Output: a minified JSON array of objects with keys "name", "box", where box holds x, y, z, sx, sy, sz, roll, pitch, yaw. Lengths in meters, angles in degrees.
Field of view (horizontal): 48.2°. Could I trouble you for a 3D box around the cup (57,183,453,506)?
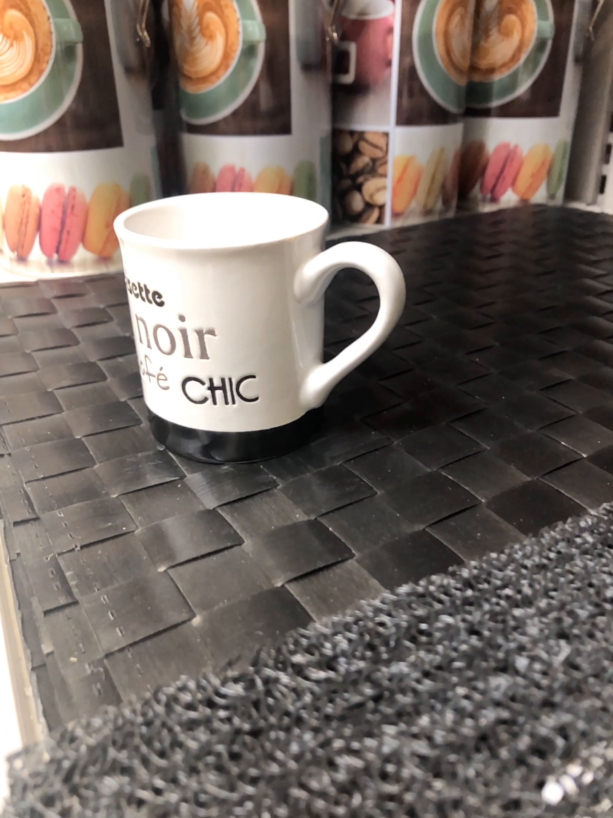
[{"name":"cup","box":[-0.012,-0.027,0.213,0.092,0.066,0.068,13,31,26]}]
